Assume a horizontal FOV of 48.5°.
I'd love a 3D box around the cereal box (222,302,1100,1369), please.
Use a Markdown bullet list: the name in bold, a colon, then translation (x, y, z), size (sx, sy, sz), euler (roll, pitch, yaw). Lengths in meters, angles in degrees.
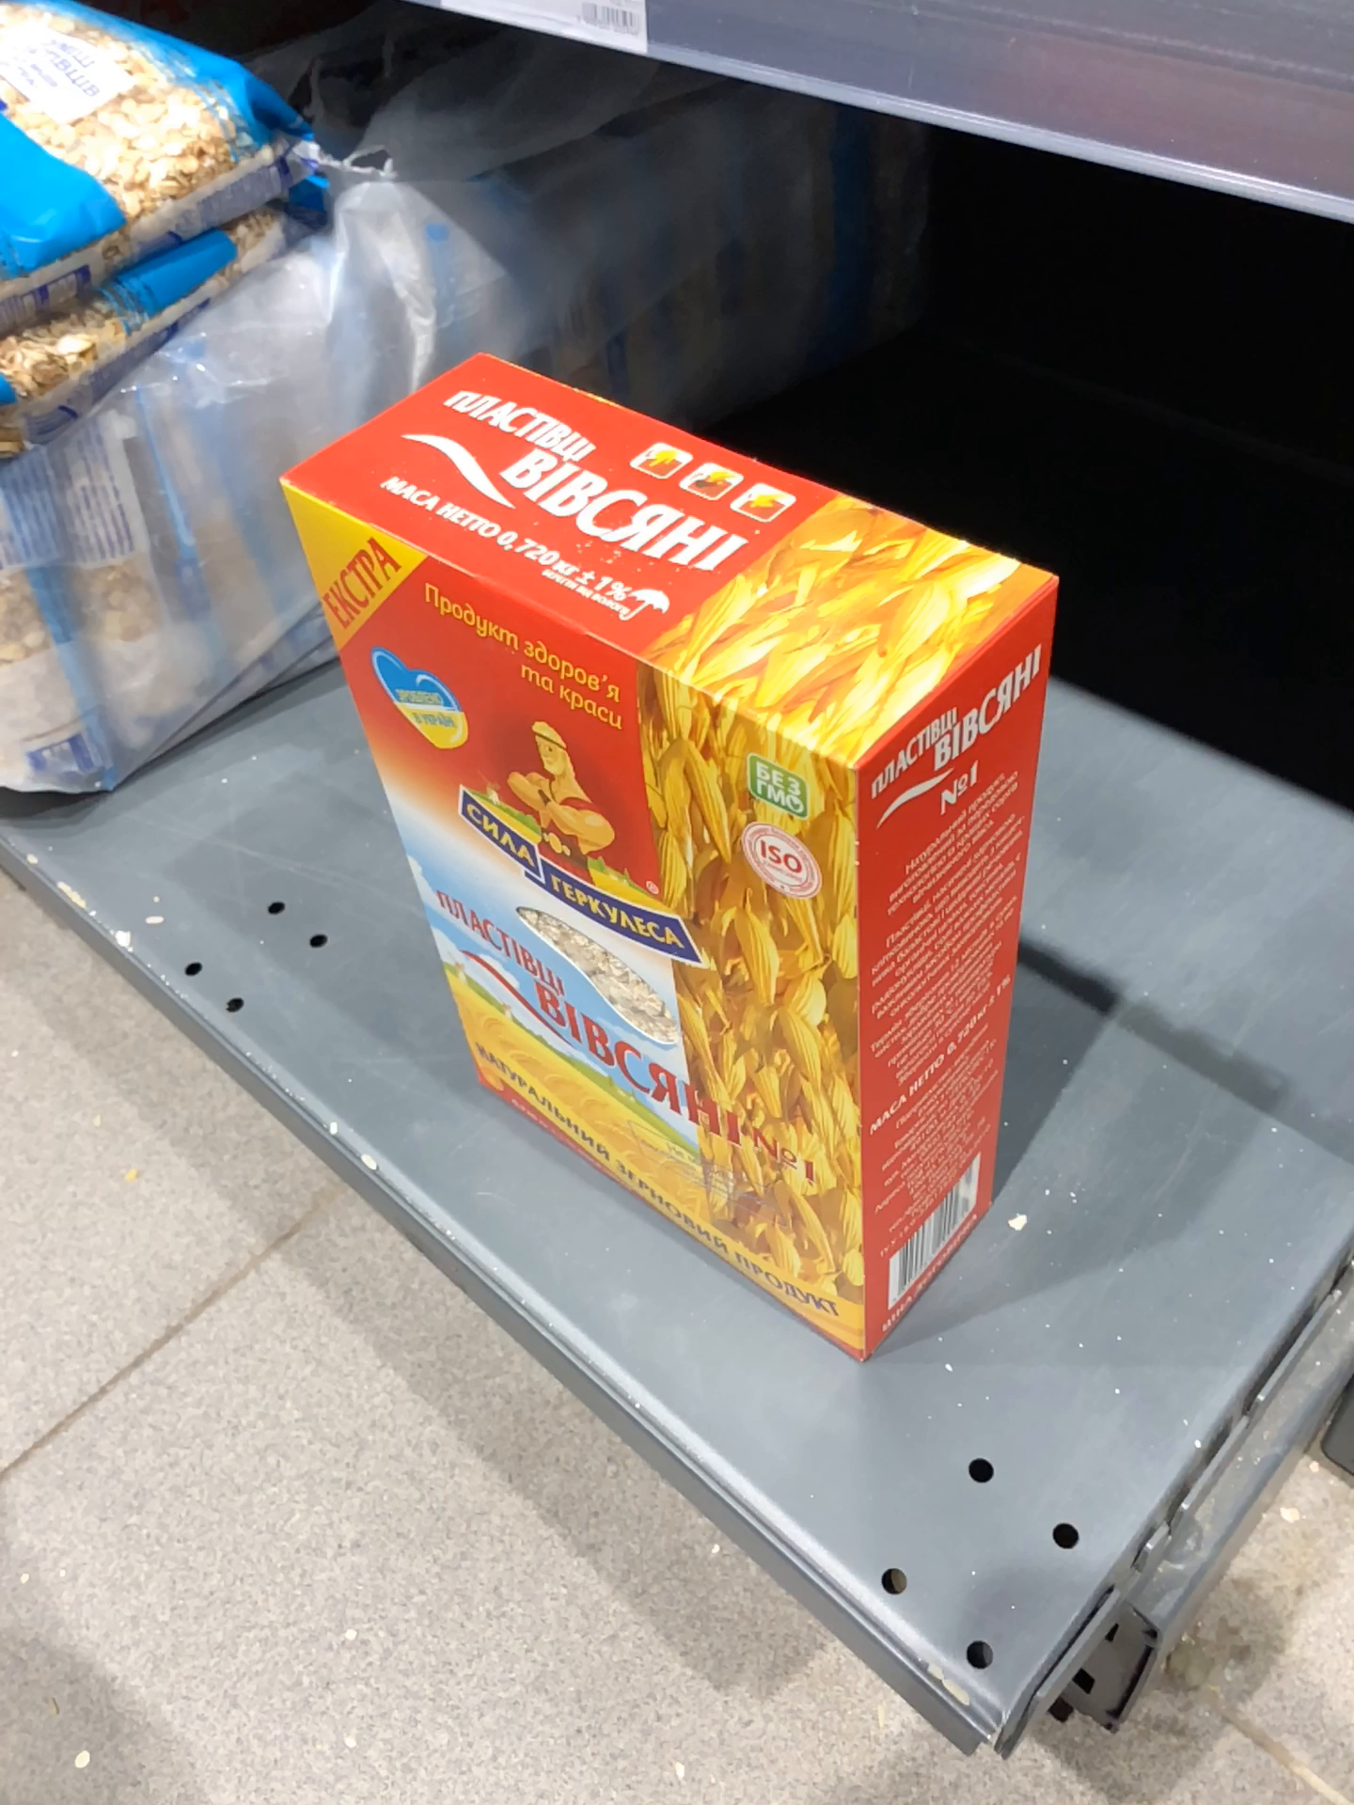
- **cereal box**: translation (-0.001, -0.009, 0.359), size (0.161, 0.208, 0.070), euler (30, 57, 30)
